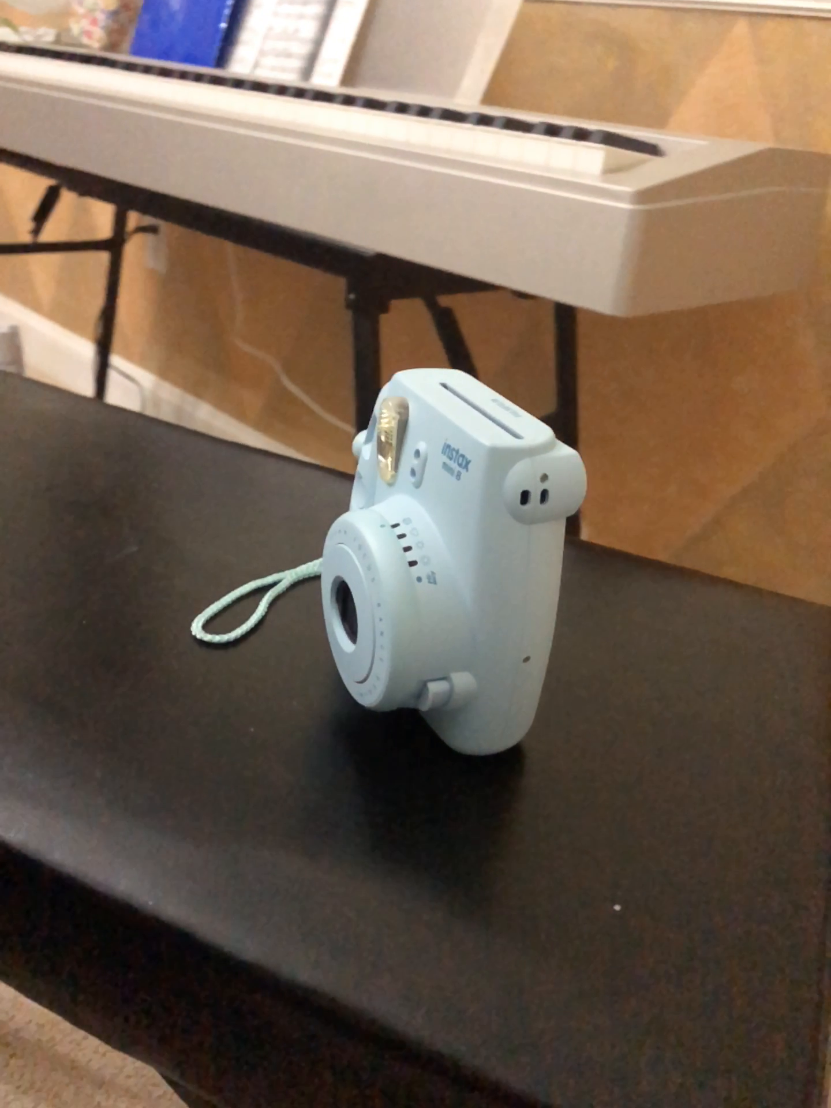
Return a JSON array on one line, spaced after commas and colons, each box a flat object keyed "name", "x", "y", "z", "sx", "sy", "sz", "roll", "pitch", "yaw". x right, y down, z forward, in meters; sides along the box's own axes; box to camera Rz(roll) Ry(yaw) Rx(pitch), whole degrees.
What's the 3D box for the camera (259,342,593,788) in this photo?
[{"name": "camera", "x": -0.007, "y": -0.004, "z": 0.347, "sx": 0.068, "sy": 0.118, "sz": 0.120, "roll": -7, "pitch": 30, "yaw": -25}]
